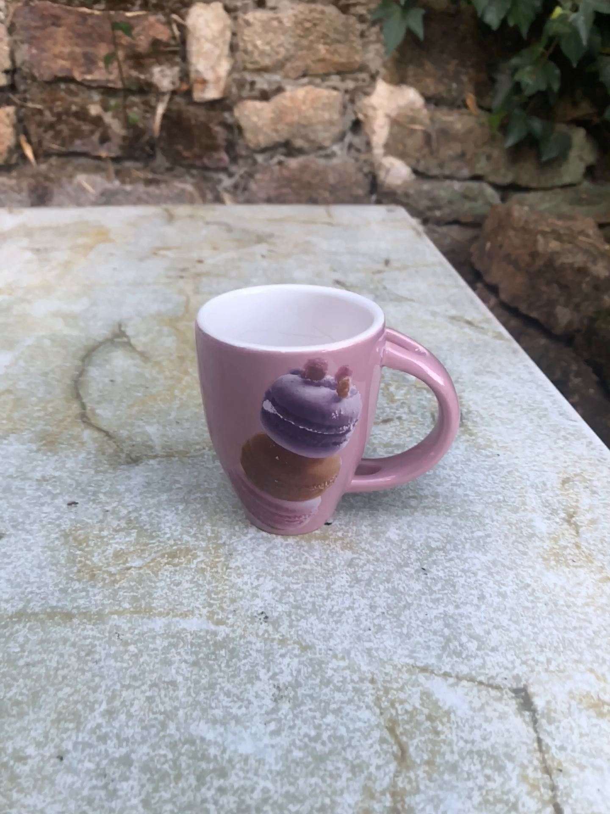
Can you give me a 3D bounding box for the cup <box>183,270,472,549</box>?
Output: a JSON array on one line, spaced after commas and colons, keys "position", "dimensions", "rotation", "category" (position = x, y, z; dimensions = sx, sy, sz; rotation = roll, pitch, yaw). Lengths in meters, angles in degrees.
[{"position": [0.013, -0.004, 0.282], "dimensions": [0.099, 0.080, 0.081], "rotation": [5, 29, 9], "category": "cup"}]
